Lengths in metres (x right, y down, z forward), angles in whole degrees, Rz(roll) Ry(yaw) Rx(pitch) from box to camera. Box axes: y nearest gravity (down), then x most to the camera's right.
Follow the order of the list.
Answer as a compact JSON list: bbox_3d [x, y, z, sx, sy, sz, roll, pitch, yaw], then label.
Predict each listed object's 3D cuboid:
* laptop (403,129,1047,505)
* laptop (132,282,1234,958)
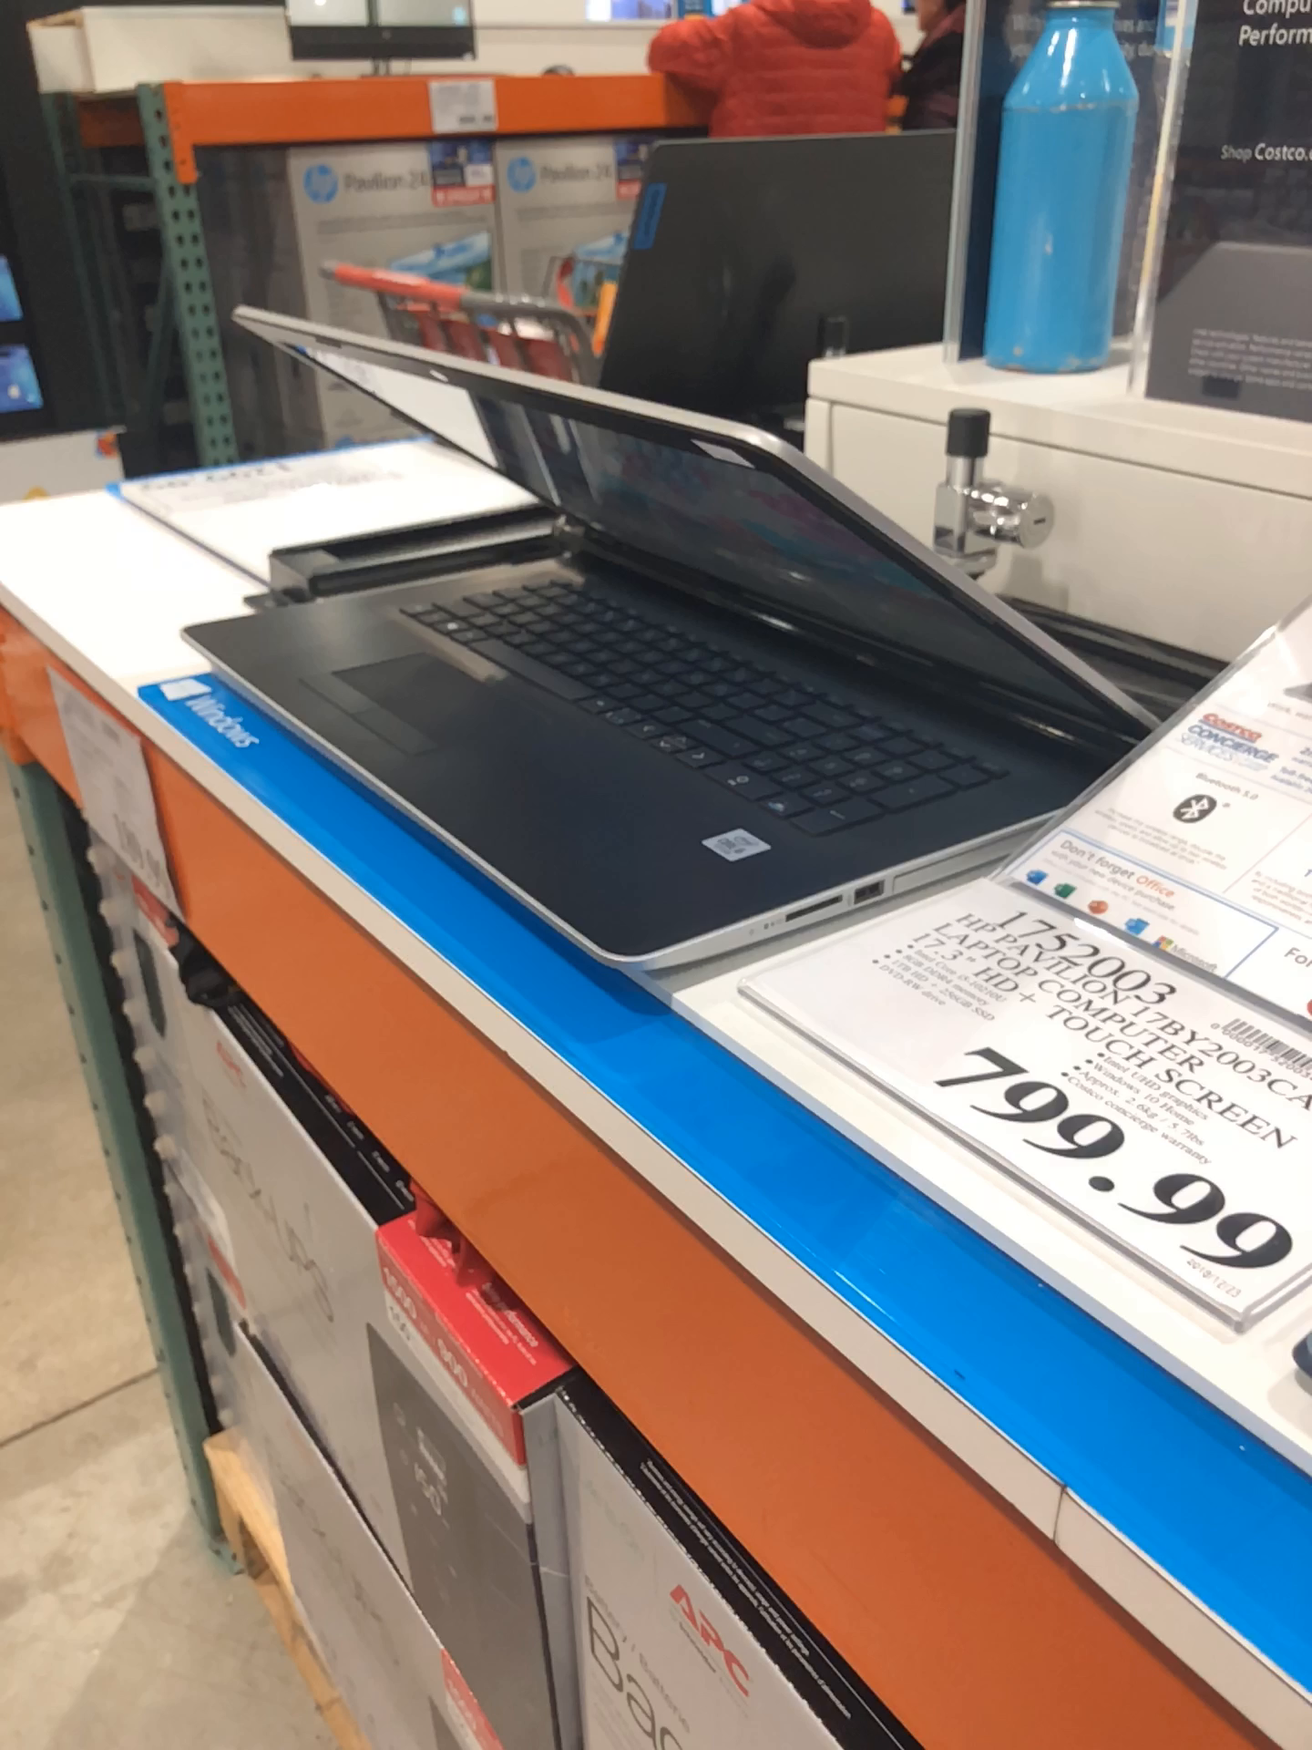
[{"bbox_3d":[0.047,-0.448,1.115,0.340,0.212,0.332,-19,33,-31],"label":"laptop"},{"bbox_3d":[-0.020,-0.150,0.614,0.257,0.150,0.407,-17,31,-29],"label":"laptop"}]
